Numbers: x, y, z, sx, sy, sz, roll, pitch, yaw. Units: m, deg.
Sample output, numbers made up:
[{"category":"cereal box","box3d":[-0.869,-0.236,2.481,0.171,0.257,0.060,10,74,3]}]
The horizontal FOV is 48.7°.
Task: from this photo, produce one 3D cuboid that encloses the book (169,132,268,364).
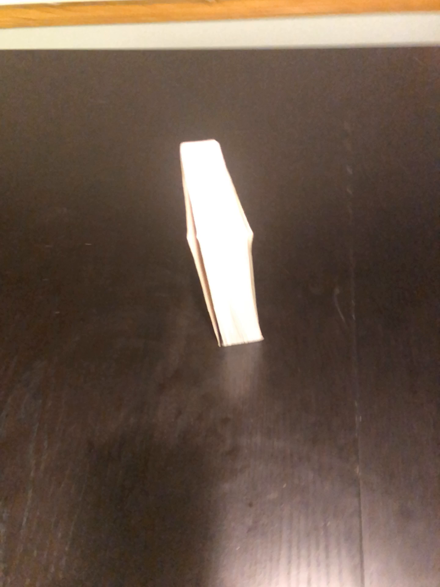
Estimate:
[{"category":"book","box3d":[0.002,-0.033,0.449,0.059,0.174,0.126,-9,56,2]}]
